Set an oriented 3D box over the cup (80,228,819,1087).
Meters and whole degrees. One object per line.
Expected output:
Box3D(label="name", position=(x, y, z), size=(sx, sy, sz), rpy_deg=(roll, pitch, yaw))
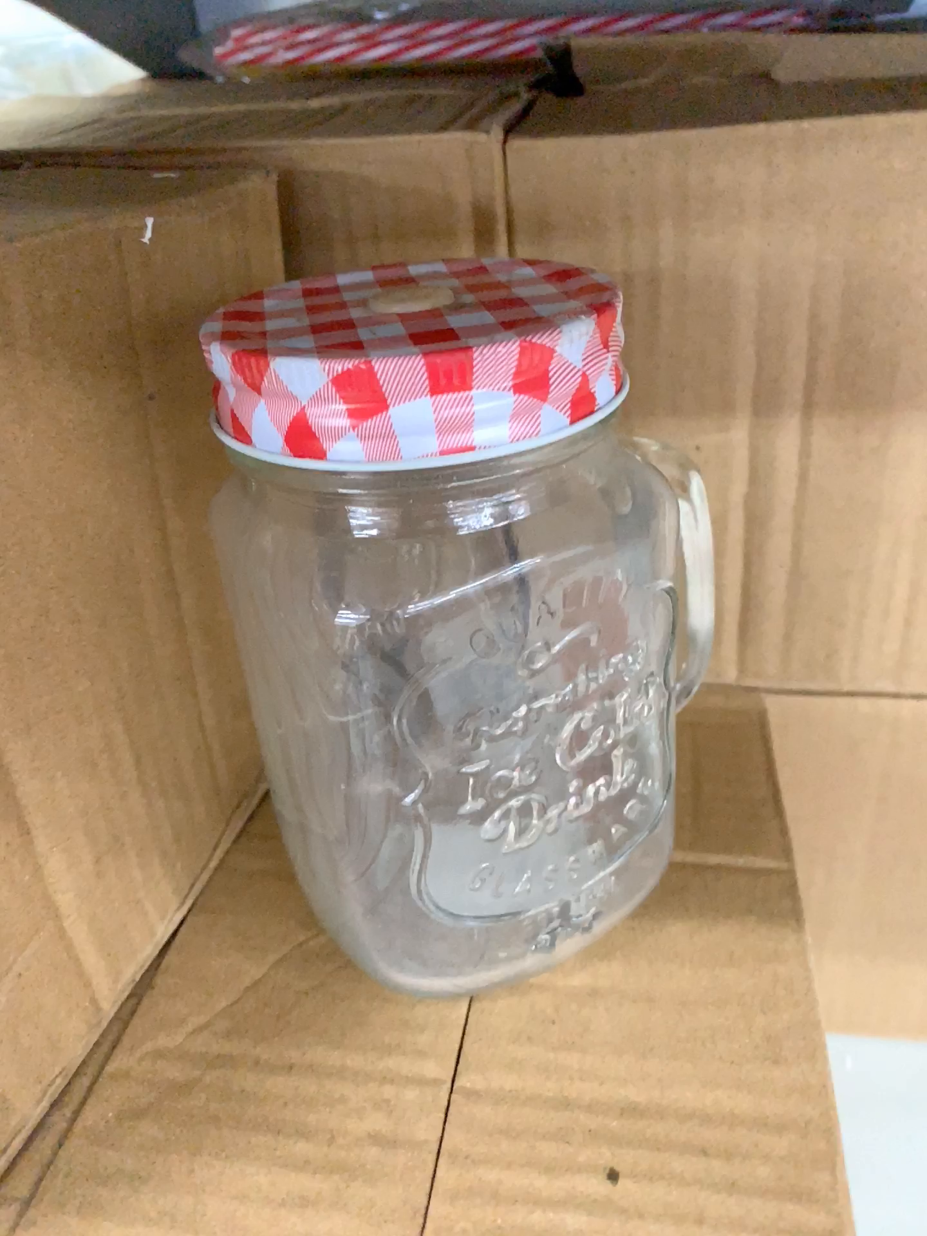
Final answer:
Box3D(label="cup", position=(-0.001, -0.002, 0.191), size=(0.100, 0.119, 0.081), rpy_deg=(-19, 30, -19))
